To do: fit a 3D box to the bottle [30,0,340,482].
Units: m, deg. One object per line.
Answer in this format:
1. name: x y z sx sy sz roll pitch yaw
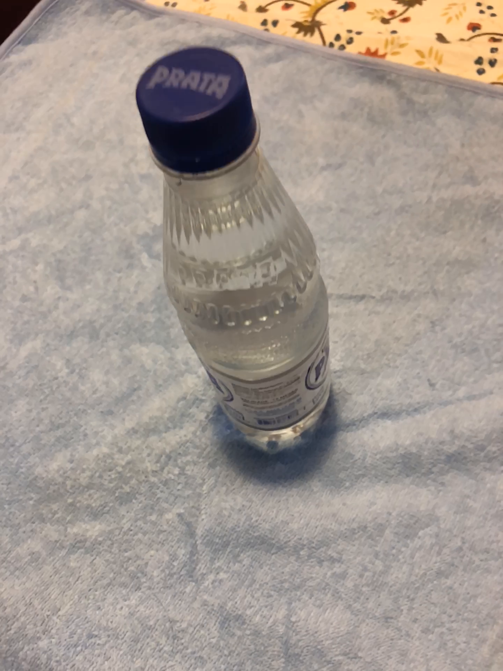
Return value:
1. bottle: -0.004 -0.007 0.243 0.070 0.219 0.080 -8 61 6
